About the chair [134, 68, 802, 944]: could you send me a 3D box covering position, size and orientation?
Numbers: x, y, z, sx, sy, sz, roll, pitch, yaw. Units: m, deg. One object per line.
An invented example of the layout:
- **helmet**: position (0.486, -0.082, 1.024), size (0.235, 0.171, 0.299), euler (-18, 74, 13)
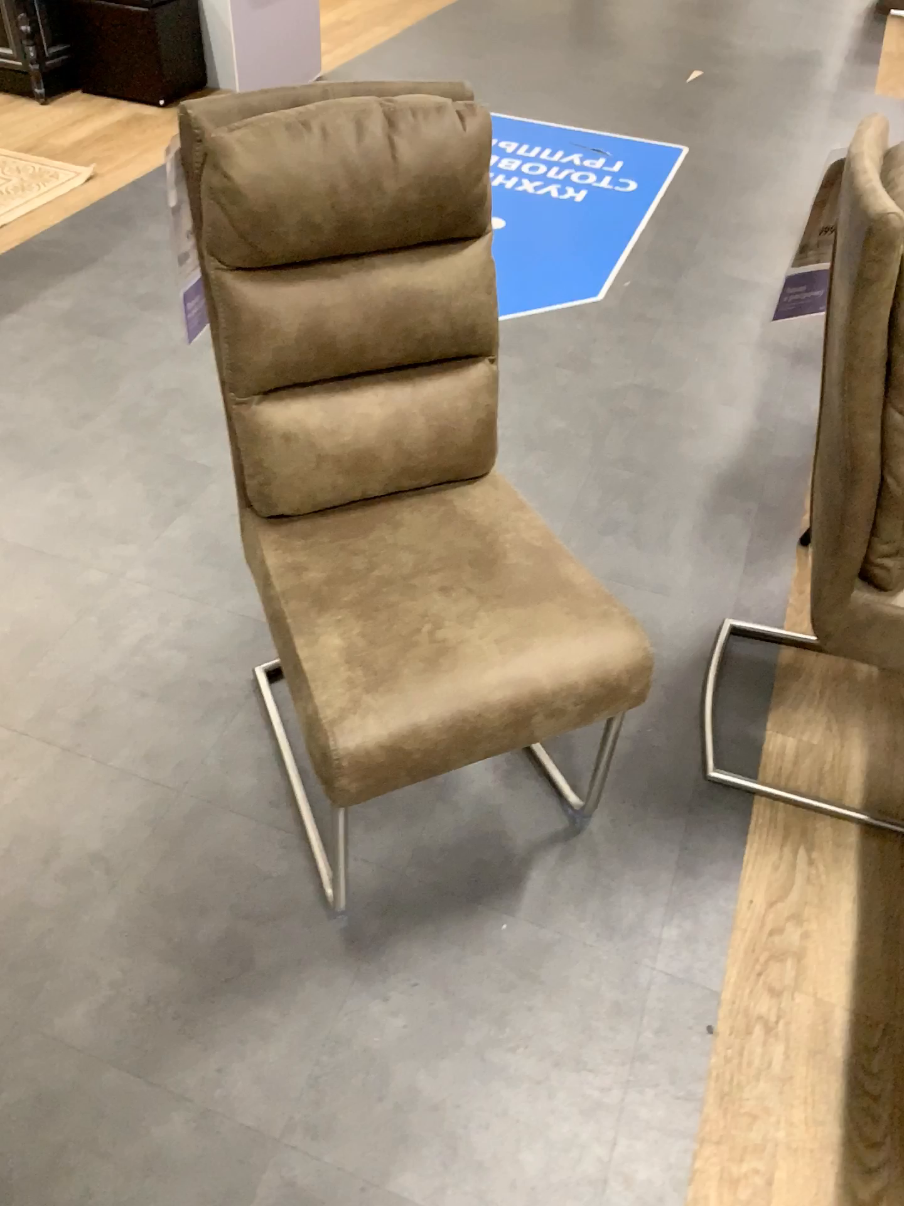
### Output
- **chair**: position (-0.048, -0.105, 1.319), size (0.501, 0.995, 0.602), euler (-15, 47, -19)
